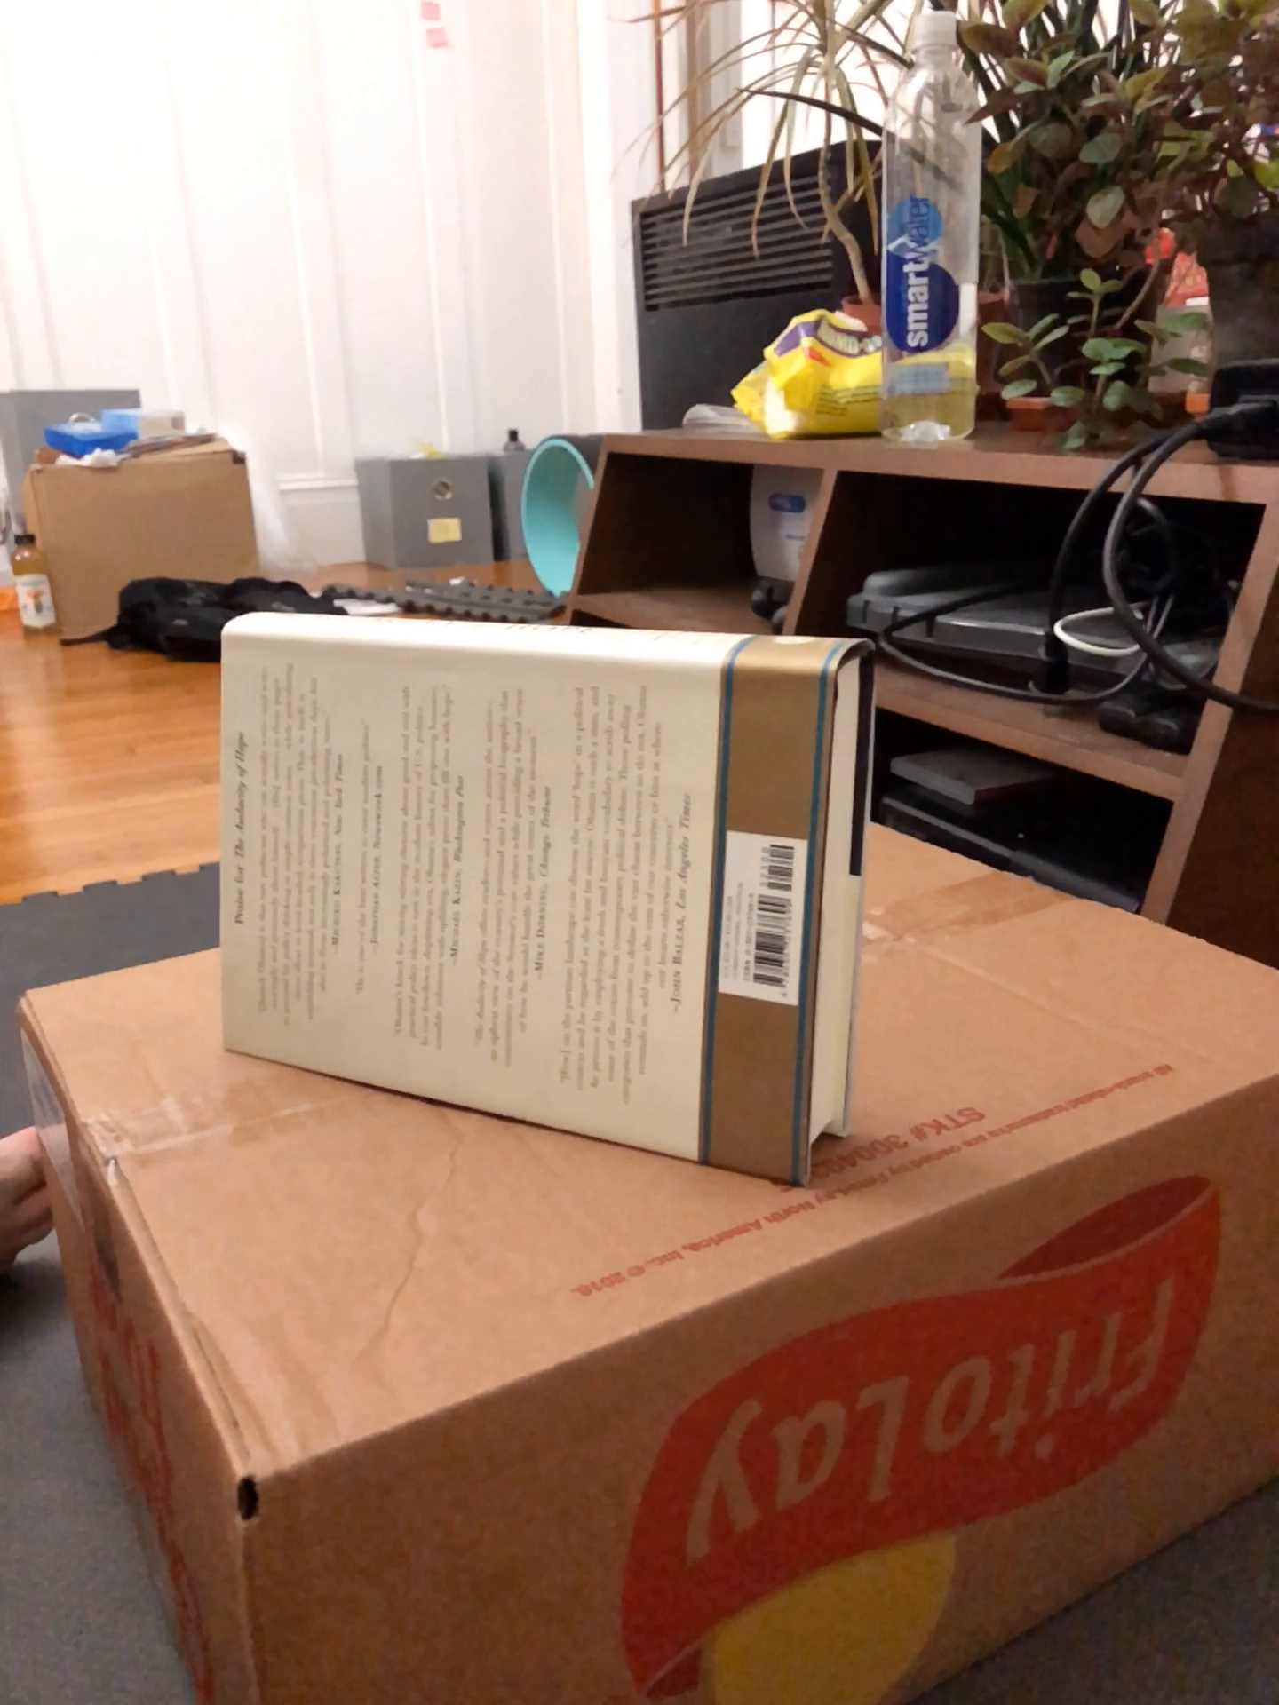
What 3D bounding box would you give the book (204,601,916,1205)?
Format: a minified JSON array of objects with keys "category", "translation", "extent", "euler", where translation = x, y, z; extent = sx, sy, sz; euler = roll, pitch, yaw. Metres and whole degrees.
[{"category":"book","translation":[-0.039,0.004,0.503],"extent":[0.250,0.170,0.060],"euler":[9,10,27]}]
